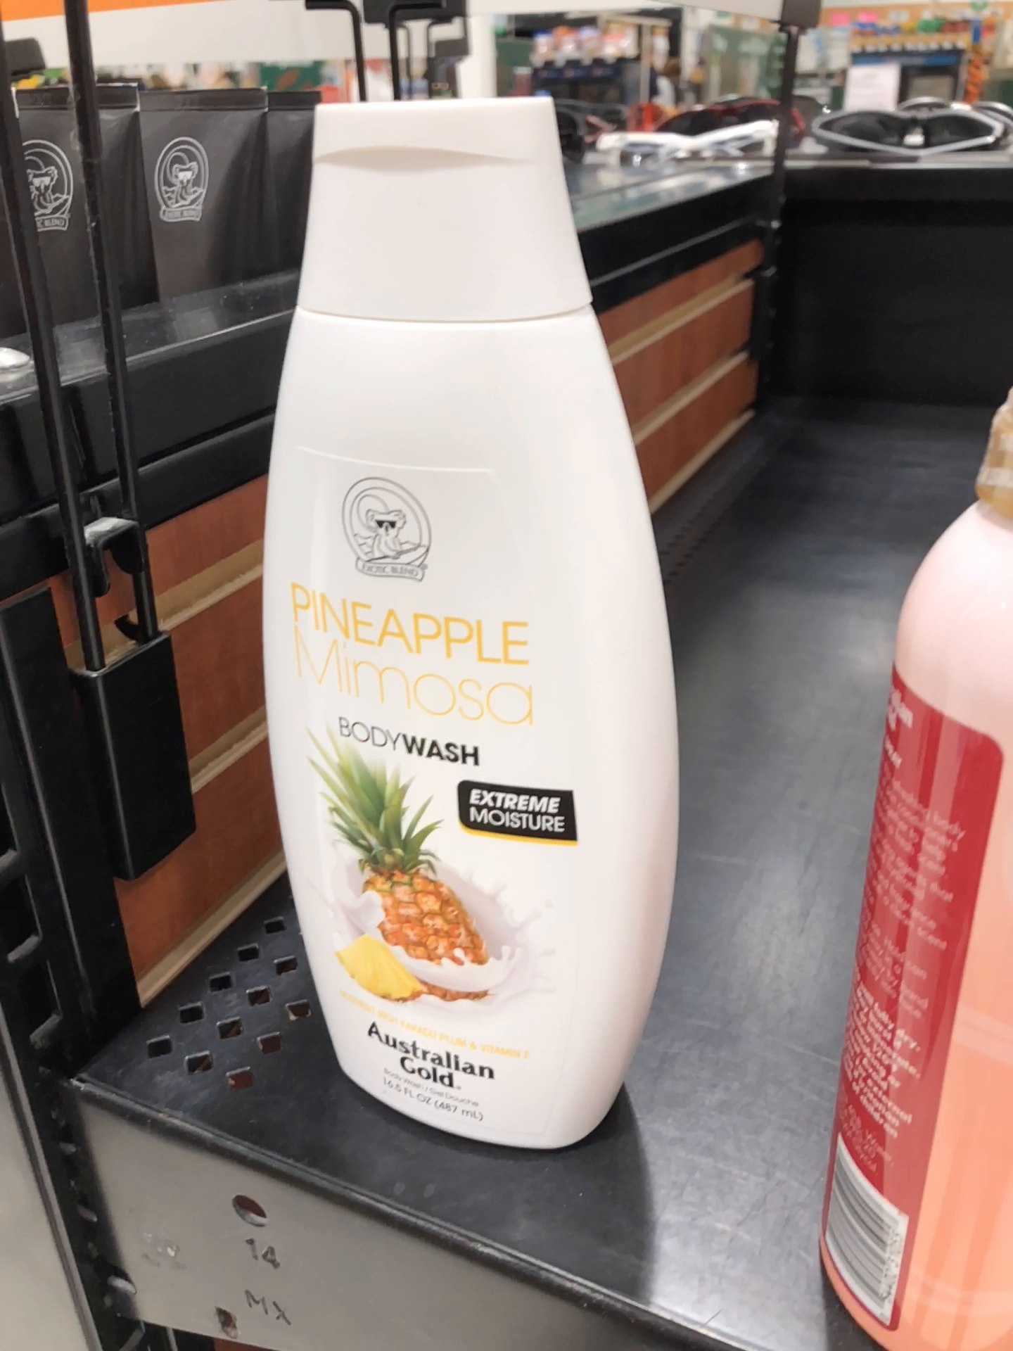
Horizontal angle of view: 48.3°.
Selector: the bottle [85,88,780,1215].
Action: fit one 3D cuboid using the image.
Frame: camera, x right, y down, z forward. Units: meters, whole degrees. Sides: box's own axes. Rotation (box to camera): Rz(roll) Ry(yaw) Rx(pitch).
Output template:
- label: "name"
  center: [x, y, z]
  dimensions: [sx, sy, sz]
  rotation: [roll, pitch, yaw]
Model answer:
- label: "bottle"
  center: [-0.008, -0.002, 0.238]
  dimensions: [0.100, 0.214, 0.060]
  rotation: [11, 29, 23]
